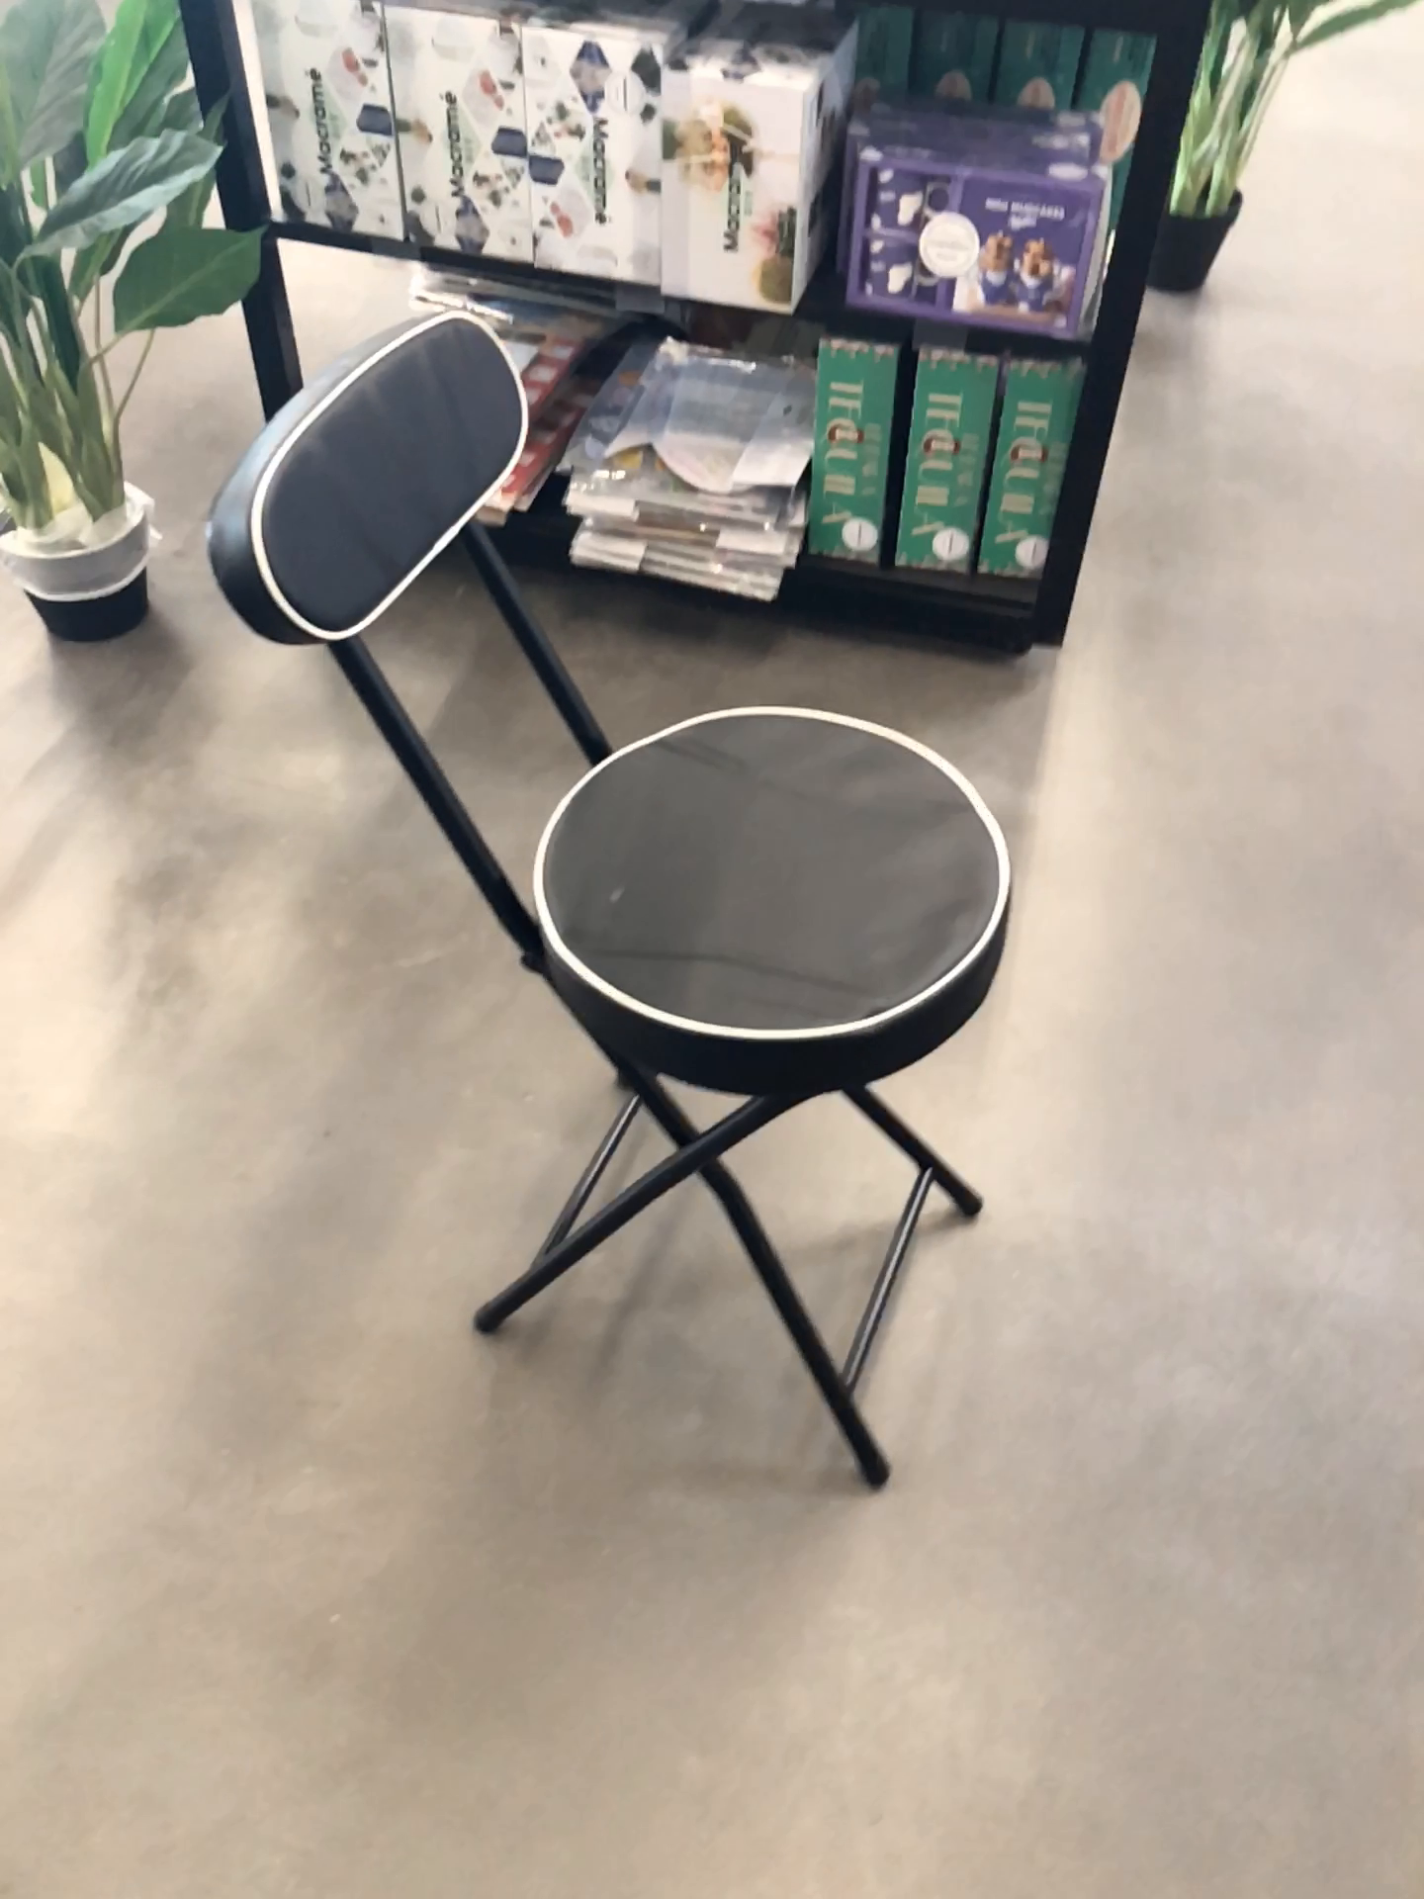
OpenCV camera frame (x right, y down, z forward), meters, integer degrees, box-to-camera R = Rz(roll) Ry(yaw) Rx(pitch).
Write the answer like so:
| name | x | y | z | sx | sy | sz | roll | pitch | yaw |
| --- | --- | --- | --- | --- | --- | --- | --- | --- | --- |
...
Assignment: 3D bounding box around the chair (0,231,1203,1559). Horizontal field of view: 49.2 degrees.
| name | x | y | z | sx | sy | sz | roll | pitch | yaw |
| --- | --- | --- | --- | --- | --- | --- | --- | --- | --- |
| chair | -0.048 | 0.008 | 1.056 | 0.510 | 0.756 | 0.342 | 18 | 49 | 14 |
